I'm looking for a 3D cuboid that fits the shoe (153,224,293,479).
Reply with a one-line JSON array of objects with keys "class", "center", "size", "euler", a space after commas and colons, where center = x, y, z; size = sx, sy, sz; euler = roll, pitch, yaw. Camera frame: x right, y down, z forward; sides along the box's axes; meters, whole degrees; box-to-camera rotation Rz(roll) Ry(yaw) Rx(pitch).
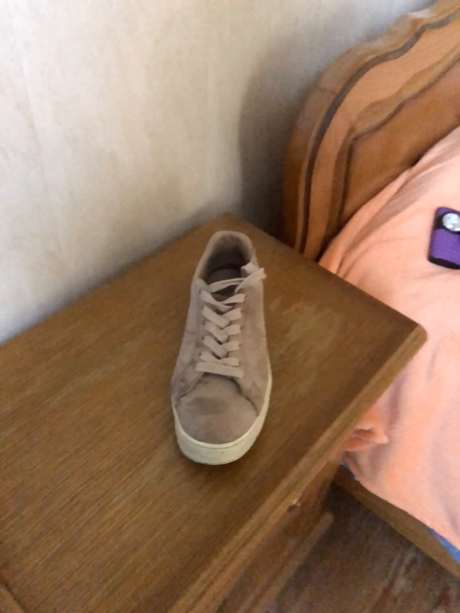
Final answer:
[{"class": "shoe", "center": [-0.007, 0.031, 0.522], "size": [0.110, 0.089, 0.262], "euler": [3, 44, -2]}]
